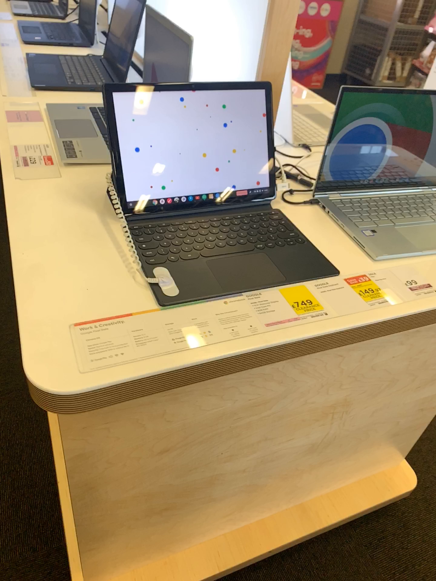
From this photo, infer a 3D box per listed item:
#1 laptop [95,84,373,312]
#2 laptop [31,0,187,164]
[{"bbox_3d":[-0.003,-0.160,0.666,0.286,0.187,0.295,-10,43,-23],"label":"laptop"},{"bbox_3d":[-0.229,-0.439,0.915,0.233,0.222,0.321,-8,43,-22],"label":"laptop"}]
